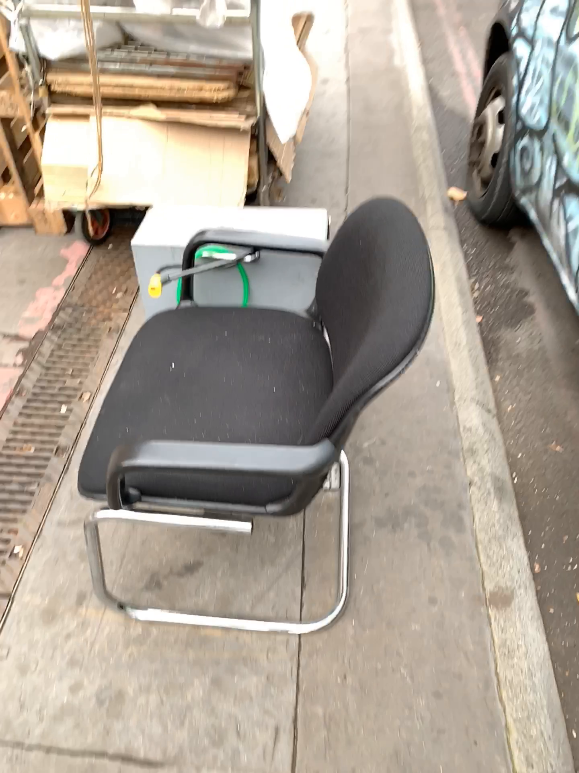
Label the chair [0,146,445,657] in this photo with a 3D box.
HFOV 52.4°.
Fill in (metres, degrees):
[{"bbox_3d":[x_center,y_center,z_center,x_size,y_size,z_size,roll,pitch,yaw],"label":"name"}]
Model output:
[{"bbox_3d":[-0.109,0.056,1.116,0.600,0.753,0.565,4,47,3],"label":"chair"}]
